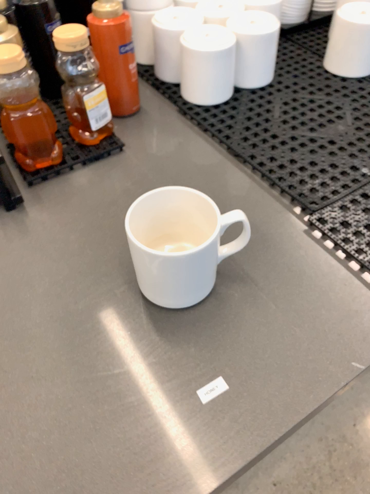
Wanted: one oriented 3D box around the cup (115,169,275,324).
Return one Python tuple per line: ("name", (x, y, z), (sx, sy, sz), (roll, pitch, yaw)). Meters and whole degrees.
("cup", (0.006, -0.002, 0.373), (0.120, 0.090, 0.090), (-12, 50, -9))
